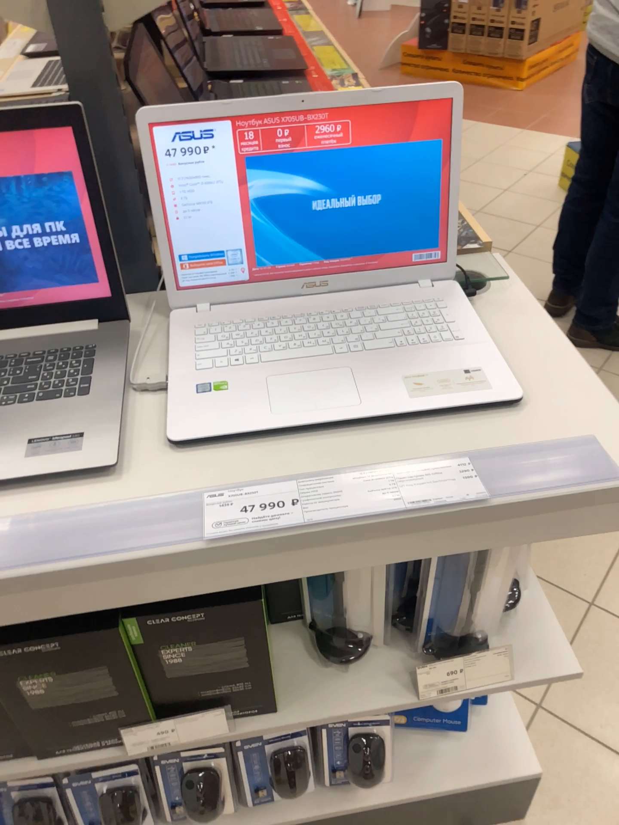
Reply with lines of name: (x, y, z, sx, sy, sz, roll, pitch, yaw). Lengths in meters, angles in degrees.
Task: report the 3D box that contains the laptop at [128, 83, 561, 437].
laptop: (0.012, -0.189, 0.778, 0.386, 0.235, 0.302, -8, 41, -5)
